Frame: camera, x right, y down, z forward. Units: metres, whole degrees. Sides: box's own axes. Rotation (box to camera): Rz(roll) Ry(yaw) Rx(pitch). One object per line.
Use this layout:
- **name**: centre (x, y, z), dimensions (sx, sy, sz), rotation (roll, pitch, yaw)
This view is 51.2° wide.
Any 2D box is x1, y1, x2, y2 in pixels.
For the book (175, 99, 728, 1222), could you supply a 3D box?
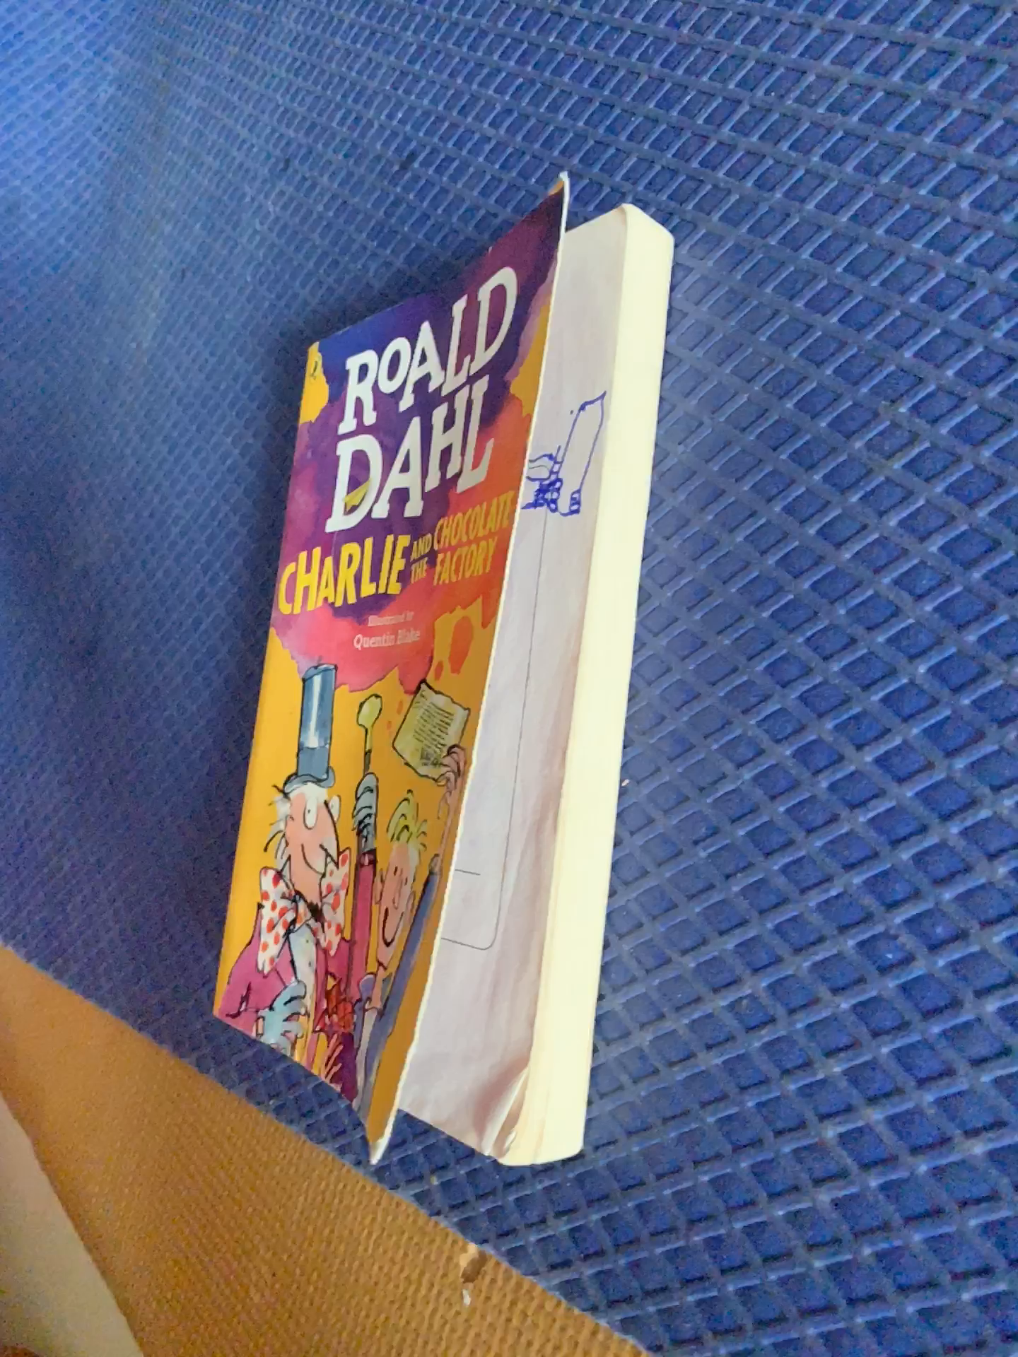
- **book**: centre (-0.022, -0.008, 0.254), dimensions (0.141, 0.020, 0.210), rotation (-1, 79, 48)
